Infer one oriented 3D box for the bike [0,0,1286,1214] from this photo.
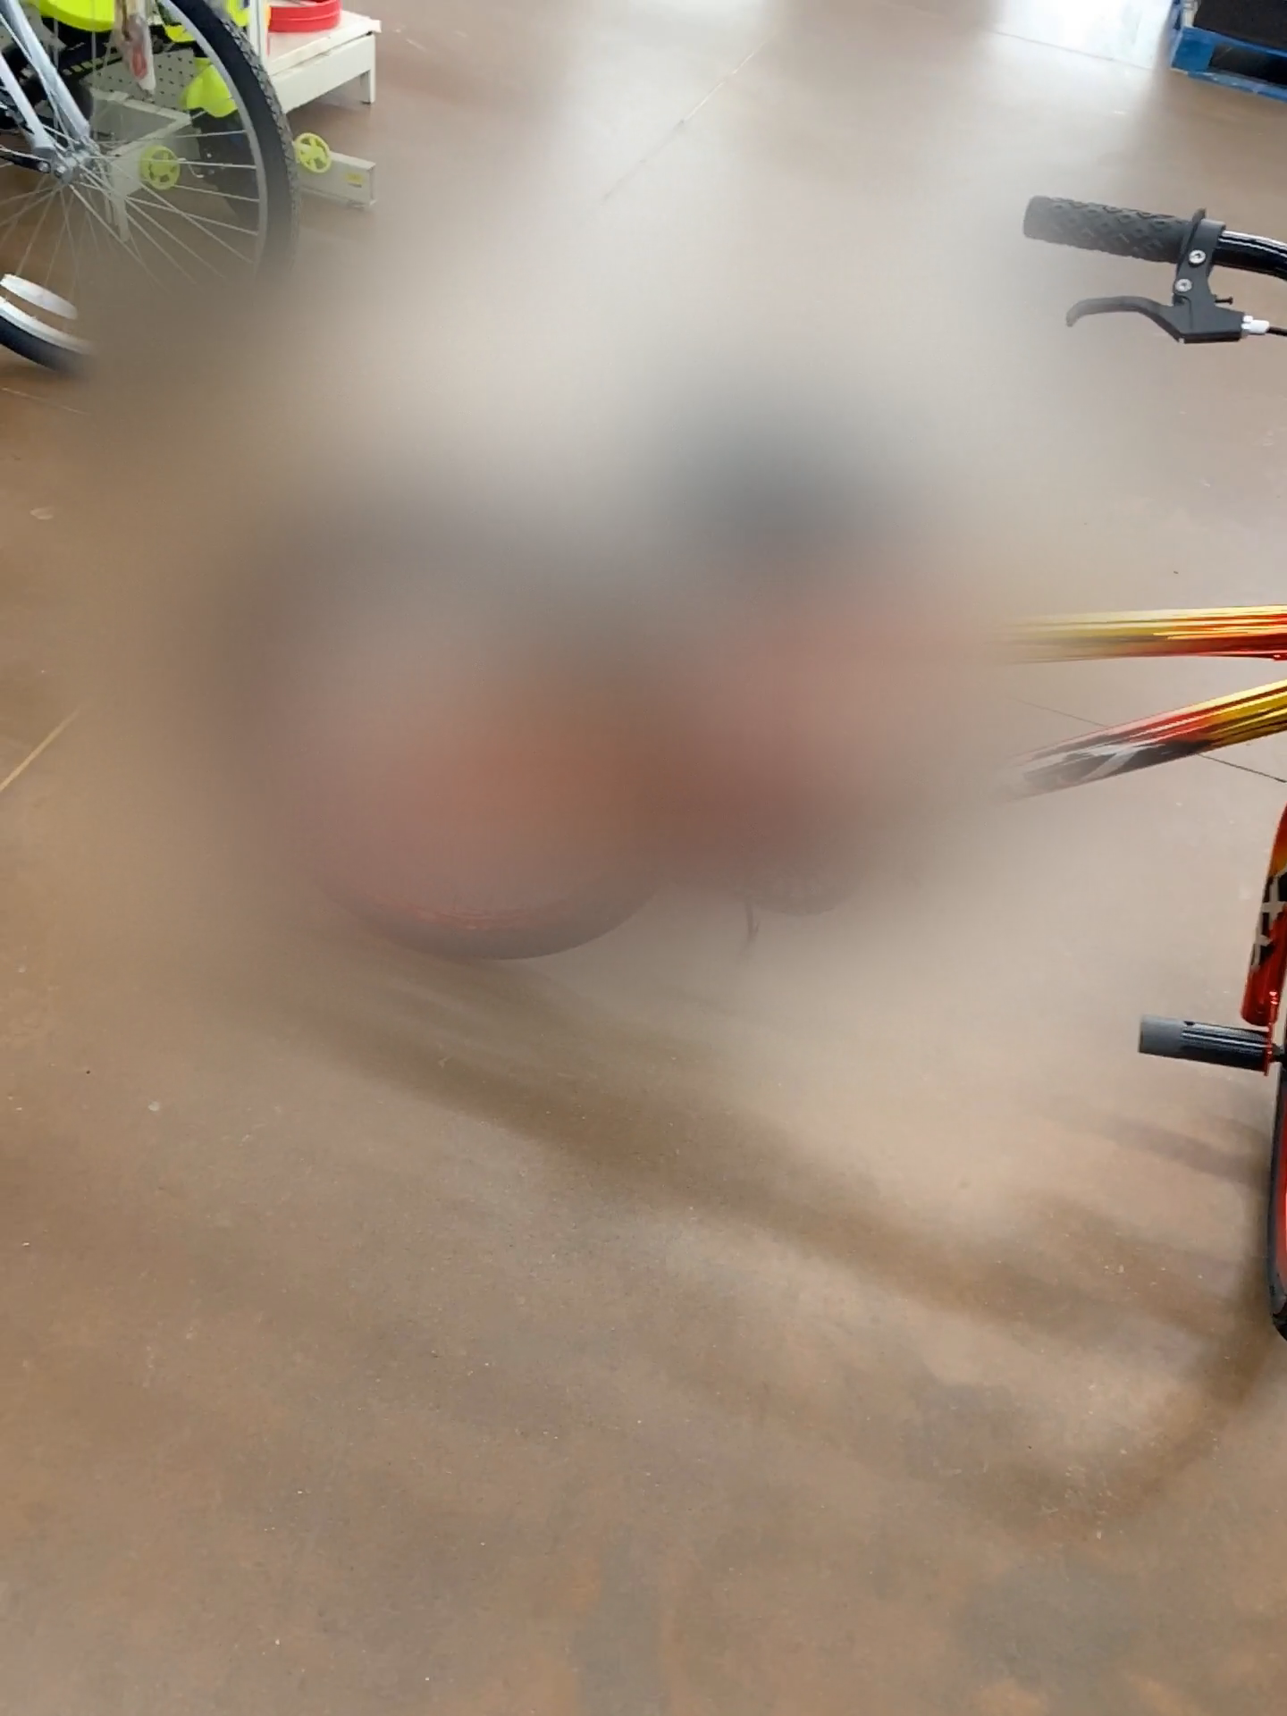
[{"bbox_3d":[0.203,-0.294,1.151,1.122,0.925,0.707,10,45,0],"label":"bike"}]
